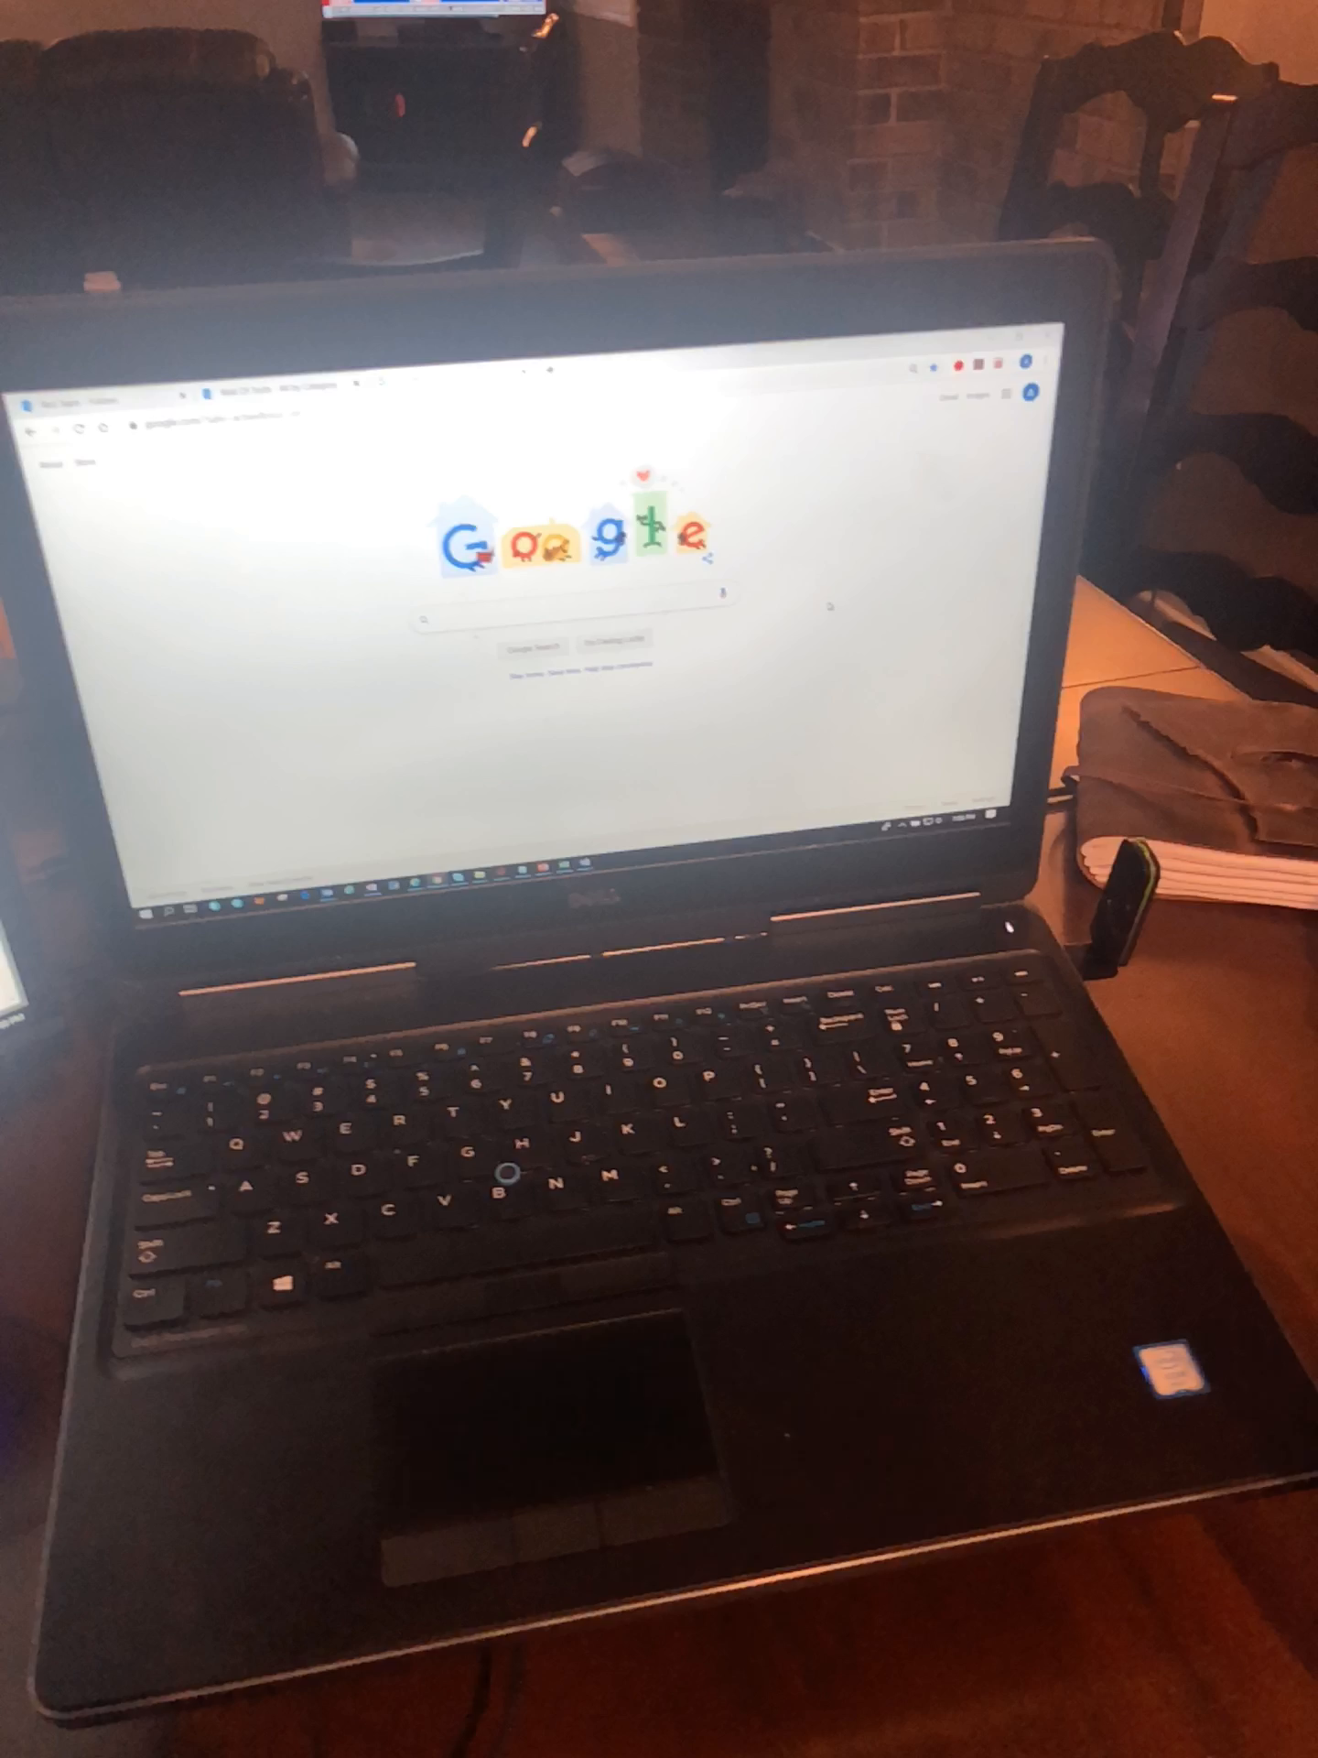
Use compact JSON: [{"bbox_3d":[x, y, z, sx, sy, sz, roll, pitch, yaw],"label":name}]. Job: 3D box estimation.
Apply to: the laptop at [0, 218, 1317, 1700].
[{"bbox_3d":[-0.007,-0.011,0.436,0.367,0.258,0.287,-6,36,-9],"label":"laptop"}]
